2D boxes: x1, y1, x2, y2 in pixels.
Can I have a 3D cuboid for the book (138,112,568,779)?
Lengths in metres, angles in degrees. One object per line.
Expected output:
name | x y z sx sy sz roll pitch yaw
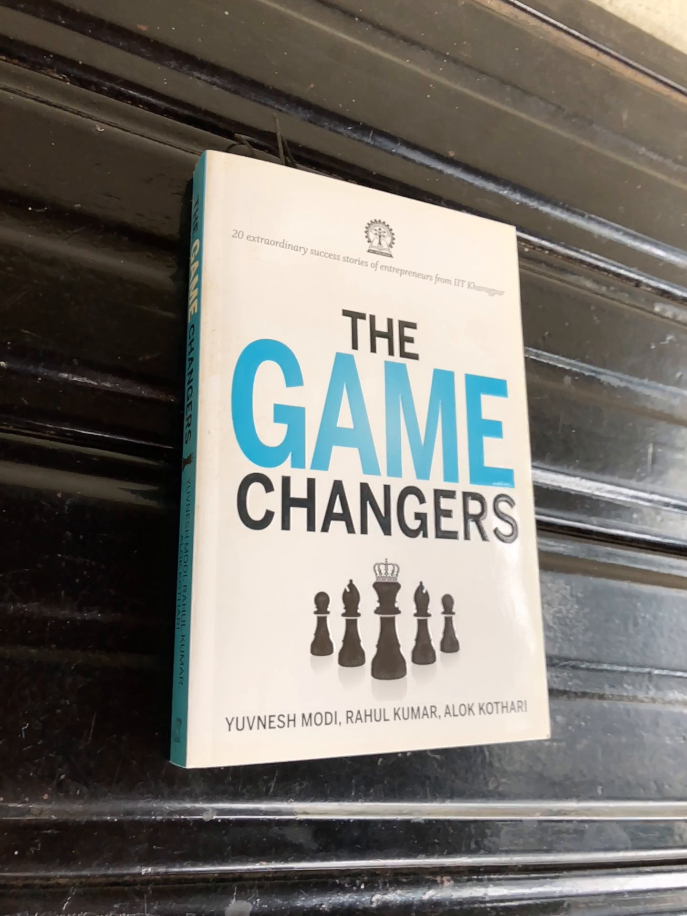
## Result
book | 0.006 -0.006 0.275 0.140 0.030 0.210 5 75 -23
